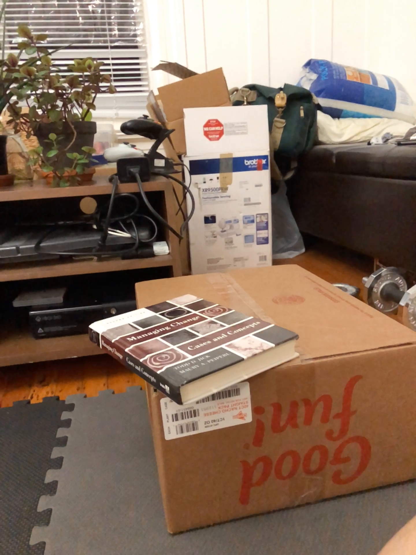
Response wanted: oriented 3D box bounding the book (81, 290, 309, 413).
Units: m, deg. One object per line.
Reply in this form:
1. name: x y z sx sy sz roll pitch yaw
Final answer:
1. book: -0.027 0.075 0.585 0.180 0.030 0.250 -14 18 -34
